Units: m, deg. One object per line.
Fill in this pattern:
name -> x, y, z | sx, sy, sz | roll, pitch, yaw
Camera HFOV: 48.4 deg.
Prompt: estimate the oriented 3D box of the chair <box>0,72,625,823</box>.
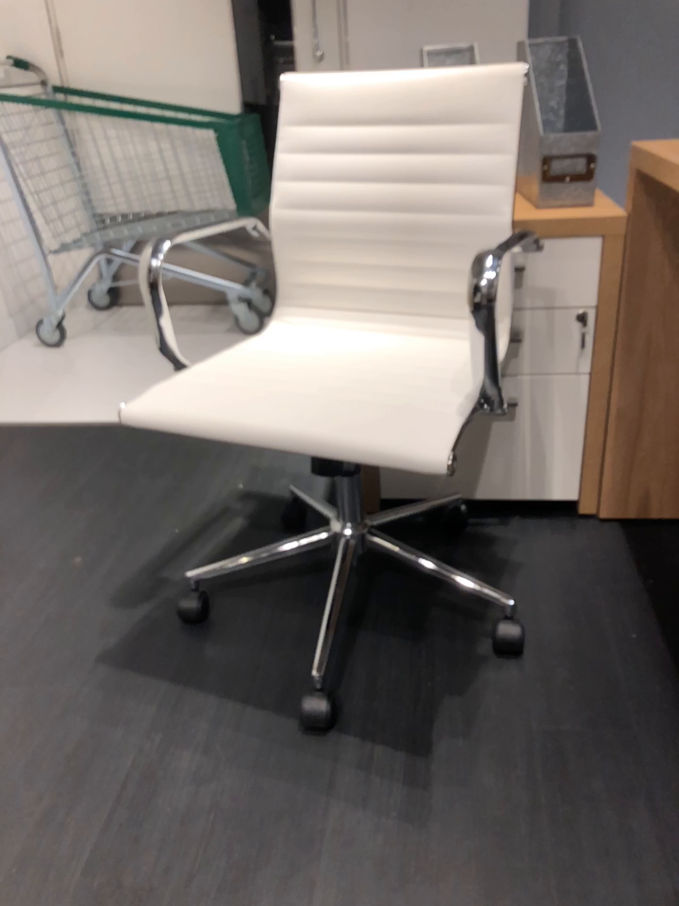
chair -> 0.055, -0.104, 1.323 | 0.651, 0.953, 0.765 | 9, 29, 25
